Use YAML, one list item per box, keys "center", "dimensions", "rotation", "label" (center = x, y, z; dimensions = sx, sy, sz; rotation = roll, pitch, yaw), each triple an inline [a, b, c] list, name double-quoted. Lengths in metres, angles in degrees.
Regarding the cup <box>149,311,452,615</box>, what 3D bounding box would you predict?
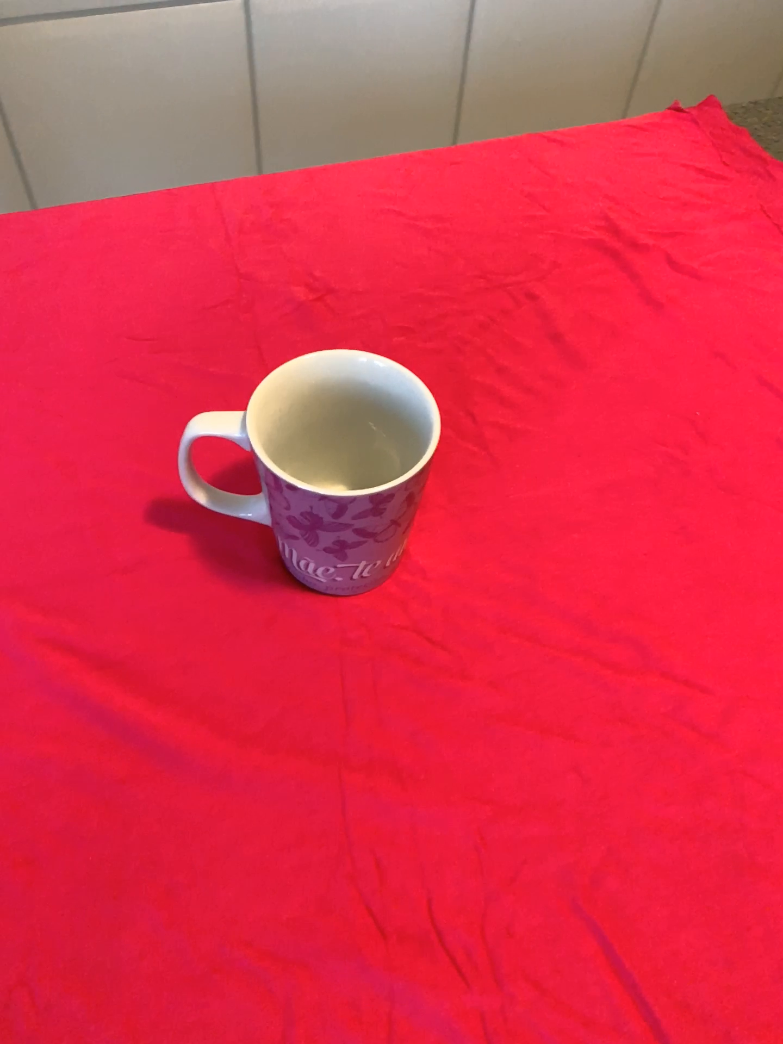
- center: [-0.036, -0.023, 0.364]
  dimensions: [0.110, 0.100, 0.080]
  rotation: [7, 55, -1]
  label: "cup"
